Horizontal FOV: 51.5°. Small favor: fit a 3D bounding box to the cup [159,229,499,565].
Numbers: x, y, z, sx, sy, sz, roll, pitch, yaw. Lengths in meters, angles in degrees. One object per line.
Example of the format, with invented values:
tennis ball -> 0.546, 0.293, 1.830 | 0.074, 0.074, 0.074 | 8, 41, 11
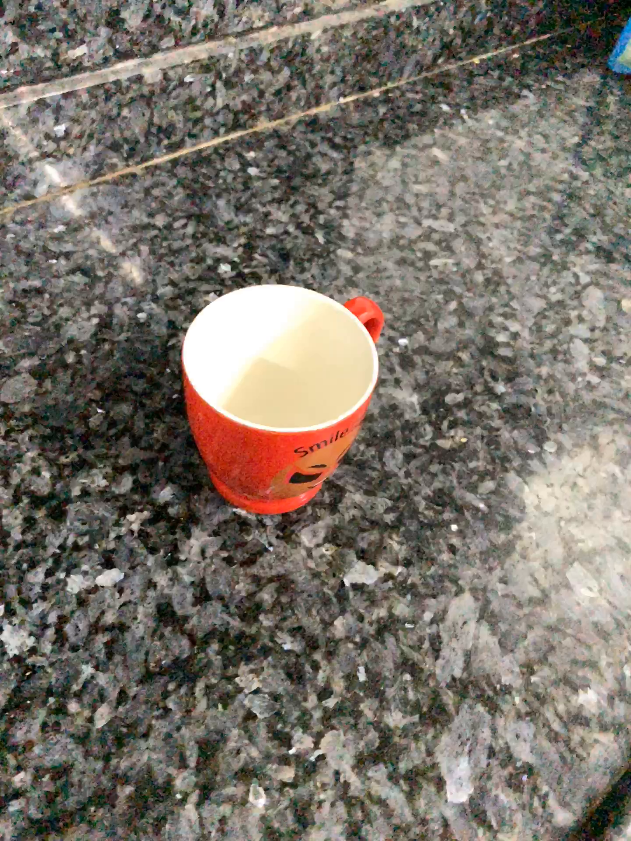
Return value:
cup -> 0.004, -0.013, 0.271 | 0.110, 0.070, 0.070 | -34, 66, -29
